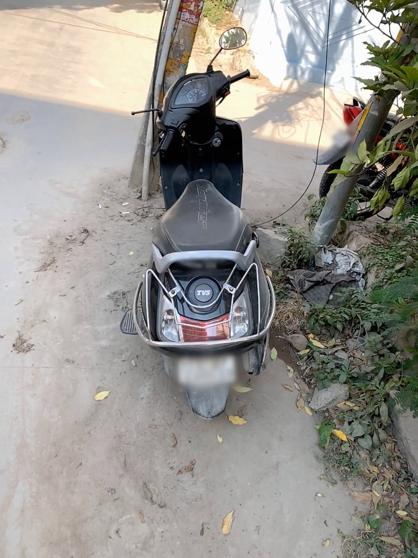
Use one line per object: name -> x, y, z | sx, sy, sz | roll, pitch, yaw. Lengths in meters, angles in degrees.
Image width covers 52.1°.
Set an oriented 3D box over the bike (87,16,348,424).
bike -> -0.106, -0.437, 2.002 | 0.618, 0.943, 1.827 | 6, 40, -11
